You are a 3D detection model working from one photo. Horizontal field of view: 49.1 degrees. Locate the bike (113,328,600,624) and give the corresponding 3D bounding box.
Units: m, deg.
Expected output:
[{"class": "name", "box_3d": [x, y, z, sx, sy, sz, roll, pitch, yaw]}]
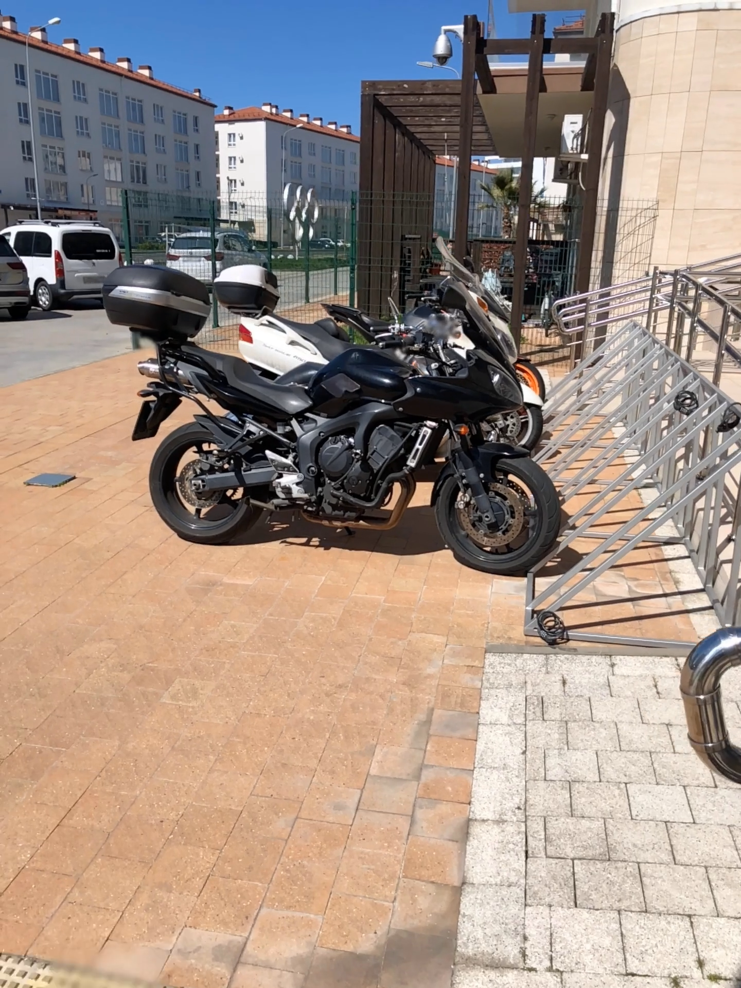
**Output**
[{"class": "bike", "box_3d": [-0.140, -0.151, 3.518, 1.919, 1.003, 0.607, 5, 15, 12]}]
